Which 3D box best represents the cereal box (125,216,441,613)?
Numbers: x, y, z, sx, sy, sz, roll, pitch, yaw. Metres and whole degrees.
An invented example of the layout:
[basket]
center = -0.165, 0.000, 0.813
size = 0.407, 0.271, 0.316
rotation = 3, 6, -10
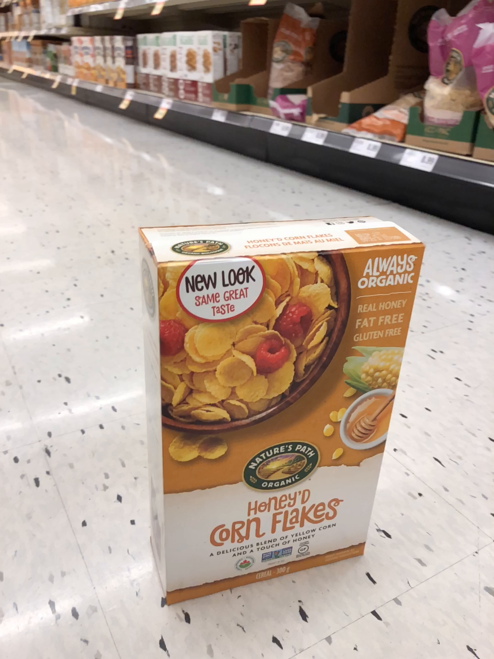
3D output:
[cereal box]
center = 0.014, 0.057, 0.350
size = 0.160, 0.239, 0.060
rotation = -6, 28, -17
